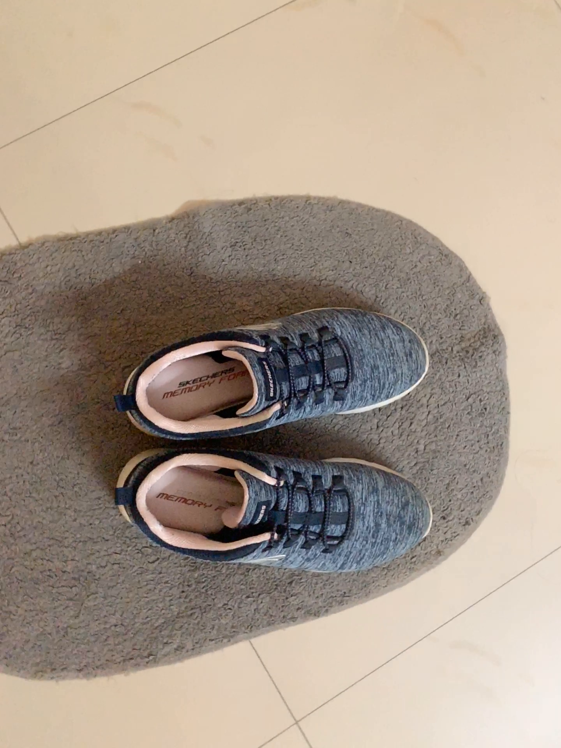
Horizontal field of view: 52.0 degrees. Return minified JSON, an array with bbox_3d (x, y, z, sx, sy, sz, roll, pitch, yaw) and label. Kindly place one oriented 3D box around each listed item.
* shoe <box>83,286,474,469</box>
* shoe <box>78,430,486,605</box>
[{"bbox_3d":[-0.001,0.001,0.492,0.290,0.100,0.100,-8,90,-5],"label":"shoe"},{"bbox_3d":[0.002,0.103,0.440,0.270,0.100,0.090,7,84,-4],"label":"shoe"}]
